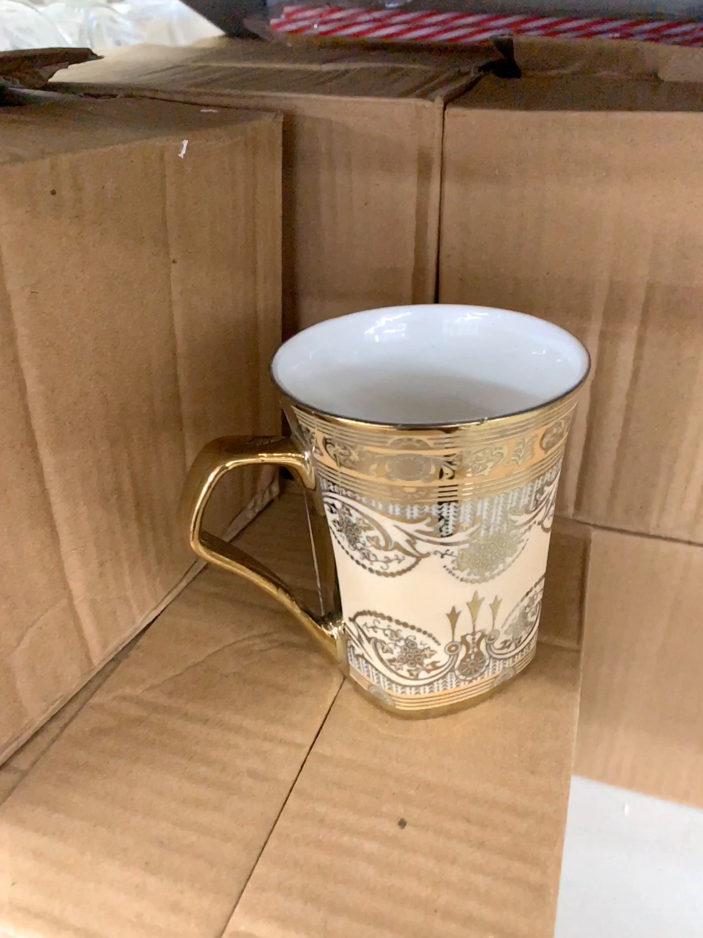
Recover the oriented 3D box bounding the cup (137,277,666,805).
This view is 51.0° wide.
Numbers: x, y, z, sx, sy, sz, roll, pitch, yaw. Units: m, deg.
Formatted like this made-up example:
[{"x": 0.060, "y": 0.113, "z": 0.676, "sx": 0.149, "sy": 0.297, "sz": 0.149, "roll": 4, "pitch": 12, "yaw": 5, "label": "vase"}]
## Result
[{"x": 0.008, "y": 0.011, "z": 0.206, "sx": 0.105, "sy": 0.092, "sz": 0.084, "roll": -14, "pitch": 33, "yaw": -18, "label": "cup"}]
